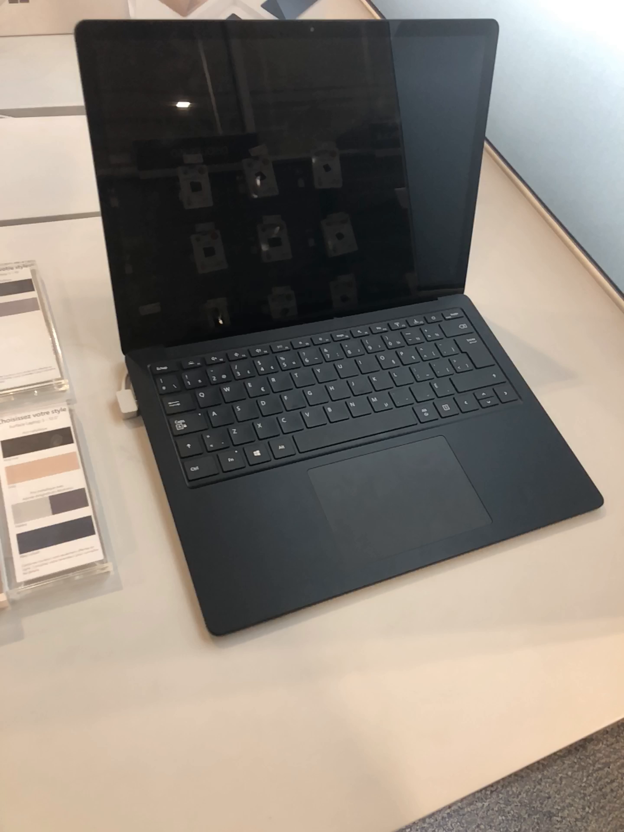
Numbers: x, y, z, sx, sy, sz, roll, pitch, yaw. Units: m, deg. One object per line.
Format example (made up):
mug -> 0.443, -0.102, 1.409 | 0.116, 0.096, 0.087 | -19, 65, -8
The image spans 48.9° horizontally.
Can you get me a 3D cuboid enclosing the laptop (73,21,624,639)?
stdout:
laptop -> 0.040, -0.084, 0.458 | 0.309, 0.197, 0.314 | -13, 57, -21
